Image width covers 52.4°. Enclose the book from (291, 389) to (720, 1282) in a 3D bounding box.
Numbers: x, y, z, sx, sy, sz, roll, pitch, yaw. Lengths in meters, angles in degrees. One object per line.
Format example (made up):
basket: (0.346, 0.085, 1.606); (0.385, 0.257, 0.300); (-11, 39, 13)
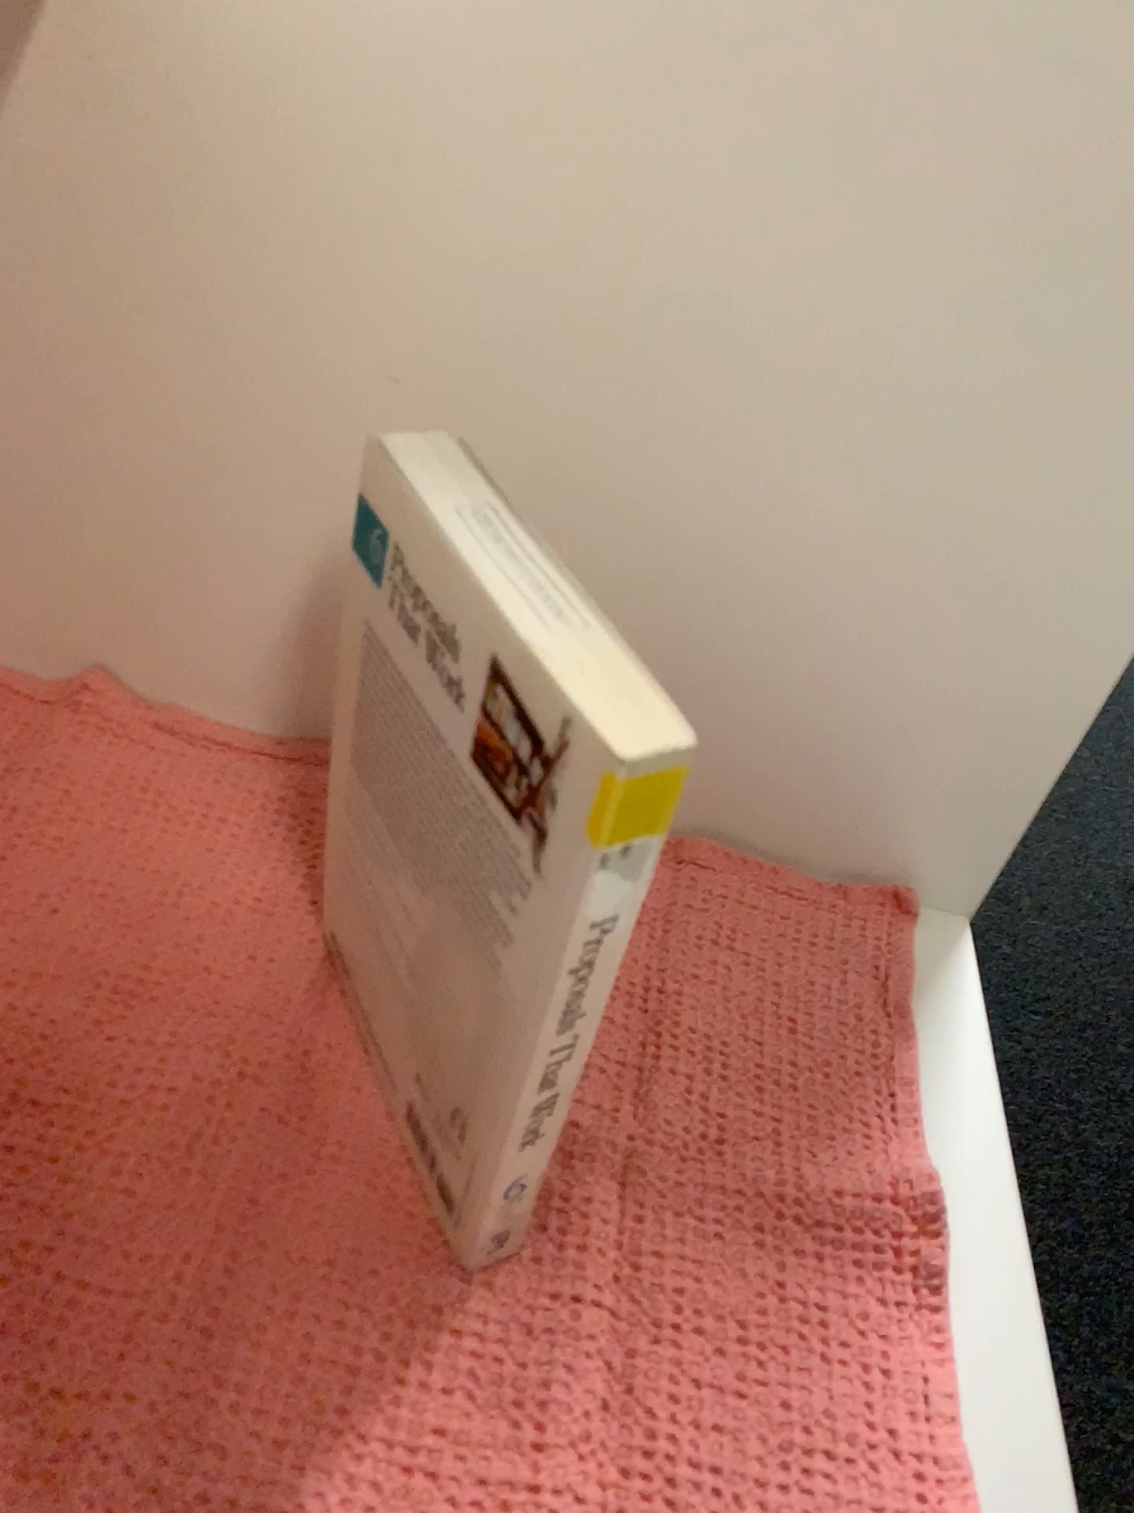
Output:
book: (-0.043, 0.029, 0.387); (0.030, 0.238, 0.181); (-9, 44, -28)
